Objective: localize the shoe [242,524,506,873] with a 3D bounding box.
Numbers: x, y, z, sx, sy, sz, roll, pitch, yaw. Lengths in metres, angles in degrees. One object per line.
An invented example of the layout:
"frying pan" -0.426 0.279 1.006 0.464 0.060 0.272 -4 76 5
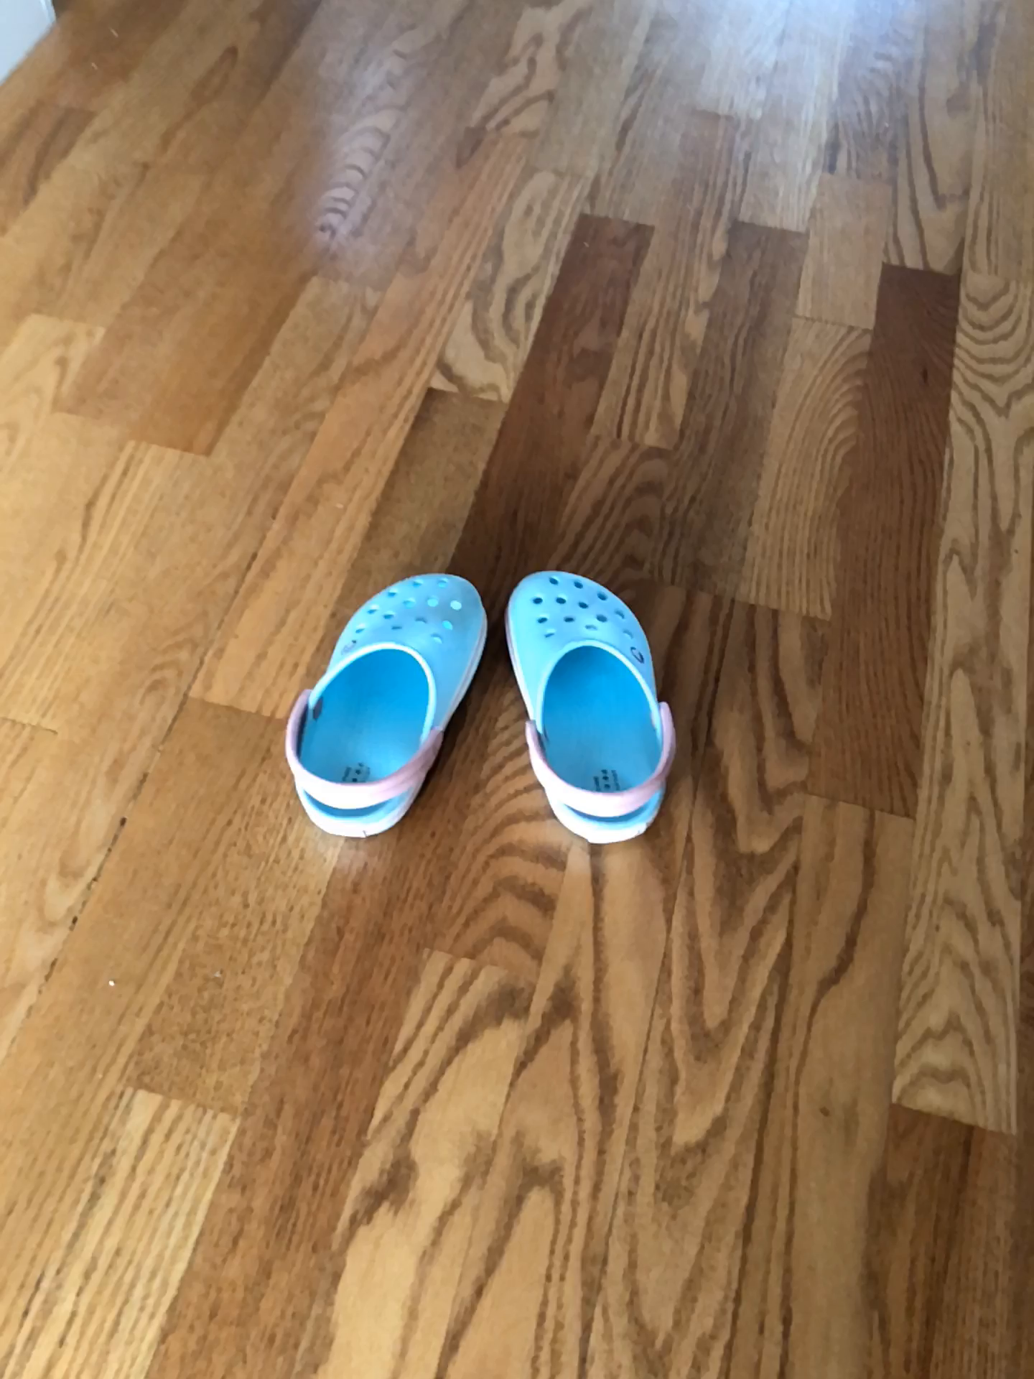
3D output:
"shoe" -0.069 0.001 0.601 0.083 0.057 0.165 14 58 7

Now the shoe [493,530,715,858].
"shoe" 0.040 -0.001 0.601 0.083 0.048 0.165 -7 58 -6
